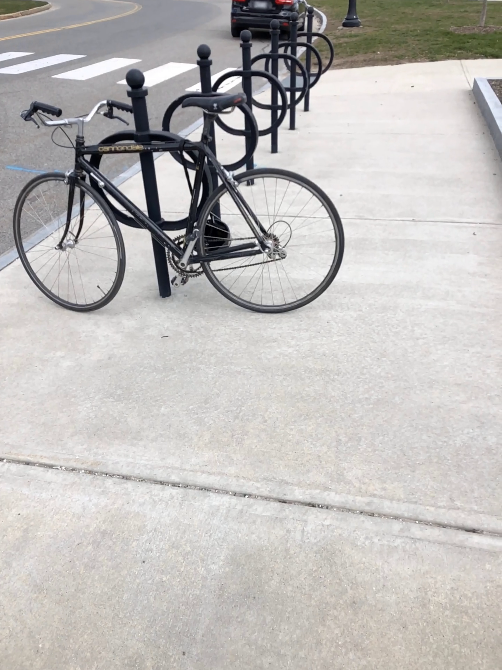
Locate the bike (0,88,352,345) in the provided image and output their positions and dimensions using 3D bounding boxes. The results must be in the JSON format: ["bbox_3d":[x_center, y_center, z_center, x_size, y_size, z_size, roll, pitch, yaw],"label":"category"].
[{"bbox_3d":[-0.350,-0.451,2.164,1.382,0.805,0.488,2,34,12],"label":"bike"}]
